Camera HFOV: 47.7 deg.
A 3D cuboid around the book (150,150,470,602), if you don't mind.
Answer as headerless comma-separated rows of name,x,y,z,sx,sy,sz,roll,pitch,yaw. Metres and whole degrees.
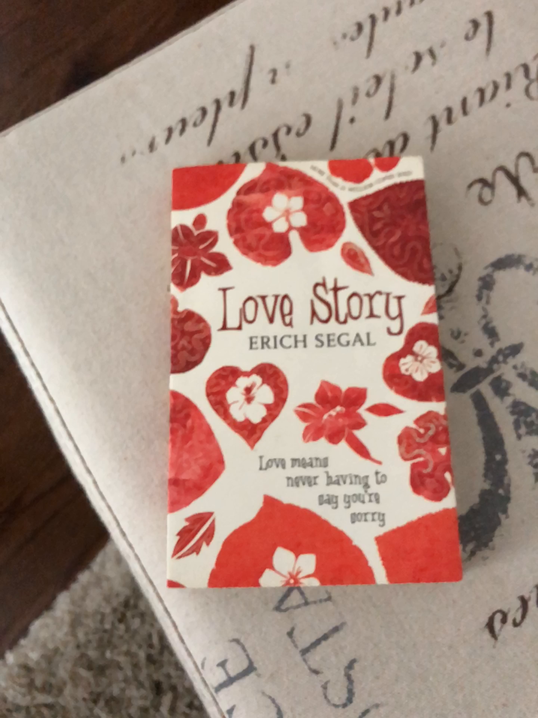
book,0.012,0.001,0.262,0.120,0.020,0.188,-2,75,0
